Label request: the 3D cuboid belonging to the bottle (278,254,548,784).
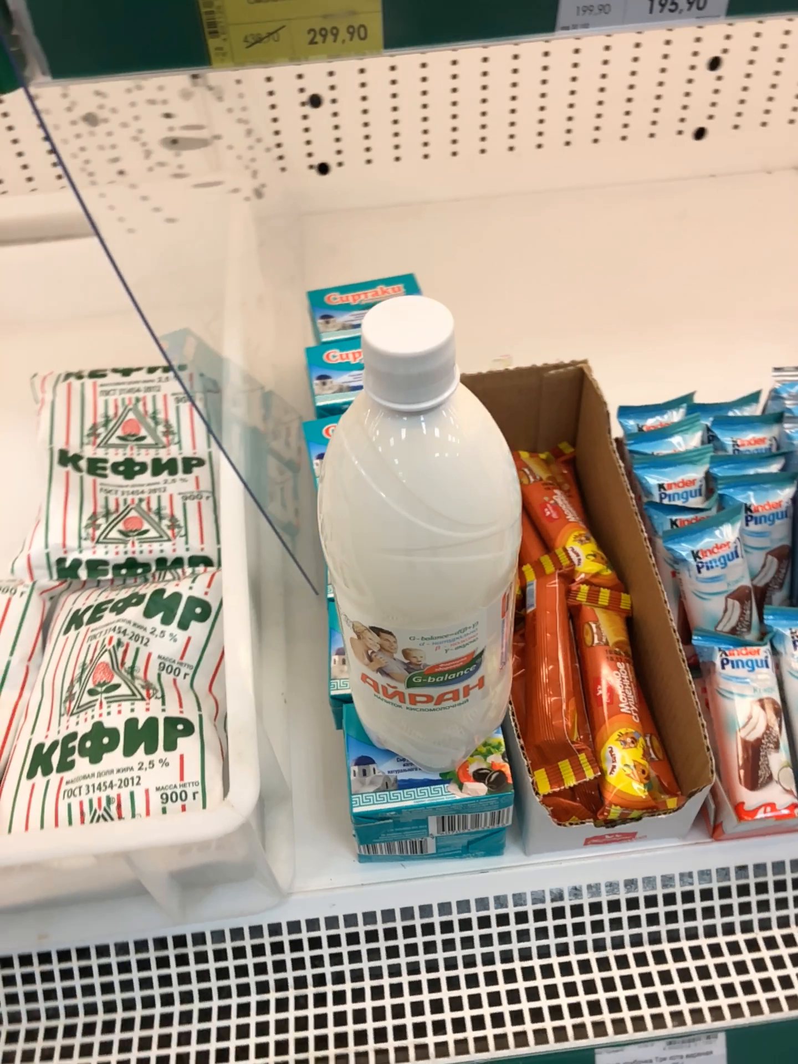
[{"bbox_3d":[0.011,0.016,0.373,0.077,0.250,0.080,-2,50,2],"label":"bottle"}]
